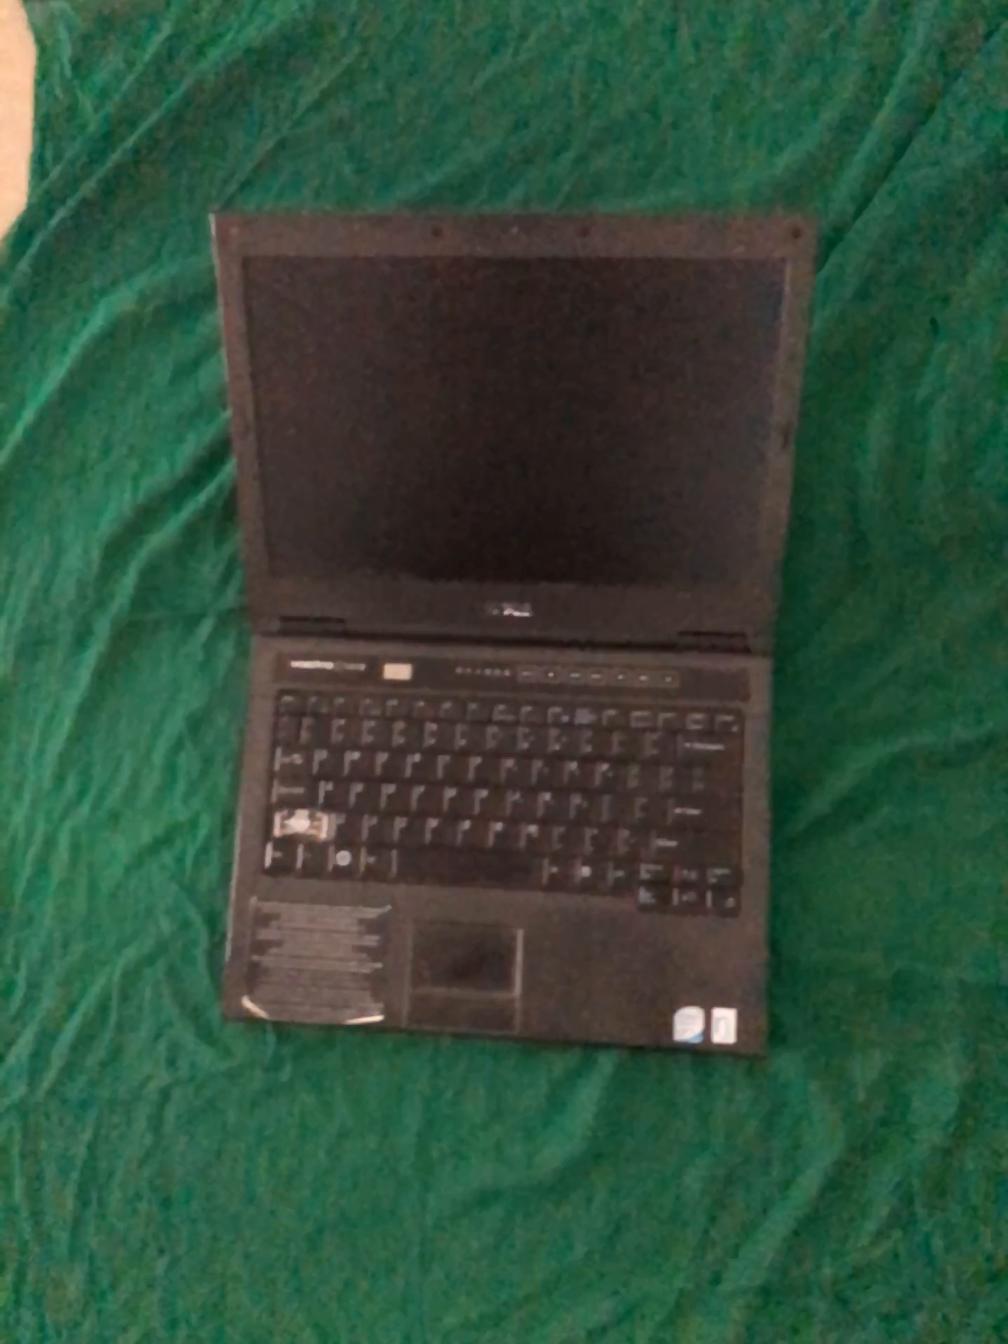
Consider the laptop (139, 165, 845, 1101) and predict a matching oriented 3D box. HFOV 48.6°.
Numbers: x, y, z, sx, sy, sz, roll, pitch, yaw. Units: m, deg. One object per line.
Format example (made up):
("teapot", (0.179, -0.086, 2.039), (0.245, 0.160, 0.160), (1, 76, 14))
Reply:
("laptop", (-0.002, -0.019, 0.600), (0.313, 0.127, 0.438), (3, 86, 7))
